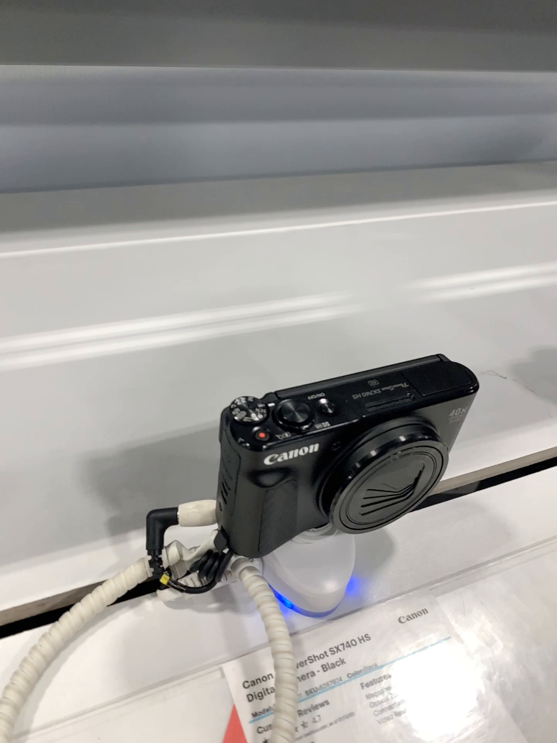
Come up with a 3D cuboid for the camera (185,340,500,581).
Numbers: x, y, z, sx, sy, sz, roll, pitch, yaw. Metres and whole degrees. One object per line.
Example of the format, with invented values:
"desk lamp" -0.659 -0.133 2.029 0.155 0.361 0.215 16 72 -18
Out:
"camera" 0.025 0.035 0.246 0.120 0.063 0.042 -12 43 -24
